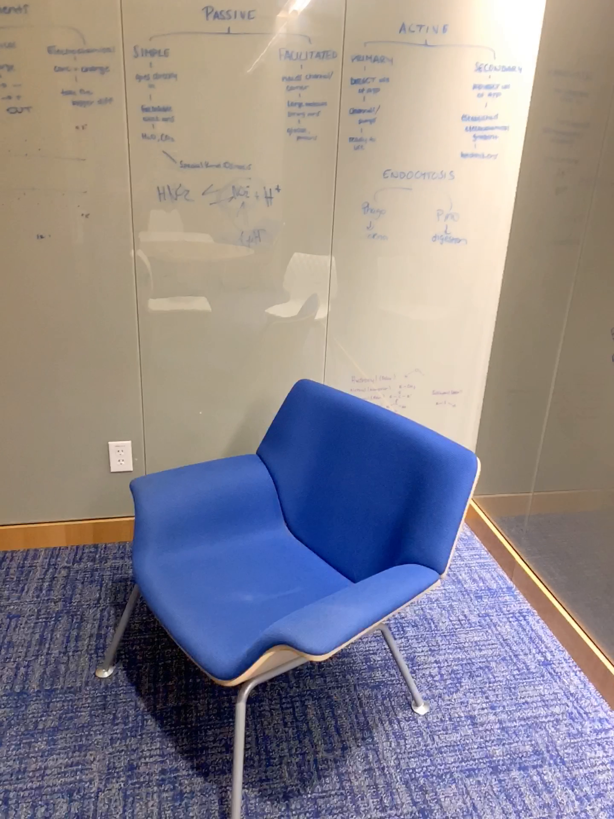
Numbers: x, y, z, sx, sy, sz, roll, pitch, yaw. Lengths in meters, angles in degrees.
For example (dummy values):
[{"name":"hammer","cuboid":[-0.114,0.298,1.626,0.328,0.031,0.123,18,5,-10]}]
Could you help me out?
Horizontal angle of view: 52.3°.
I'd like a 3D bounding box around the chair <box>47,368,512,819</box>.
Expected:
[{"name":"chair","cuboid":[-0.103,0.403,1.553,0.740,0.713,0.791,-14,26,-36]}]
